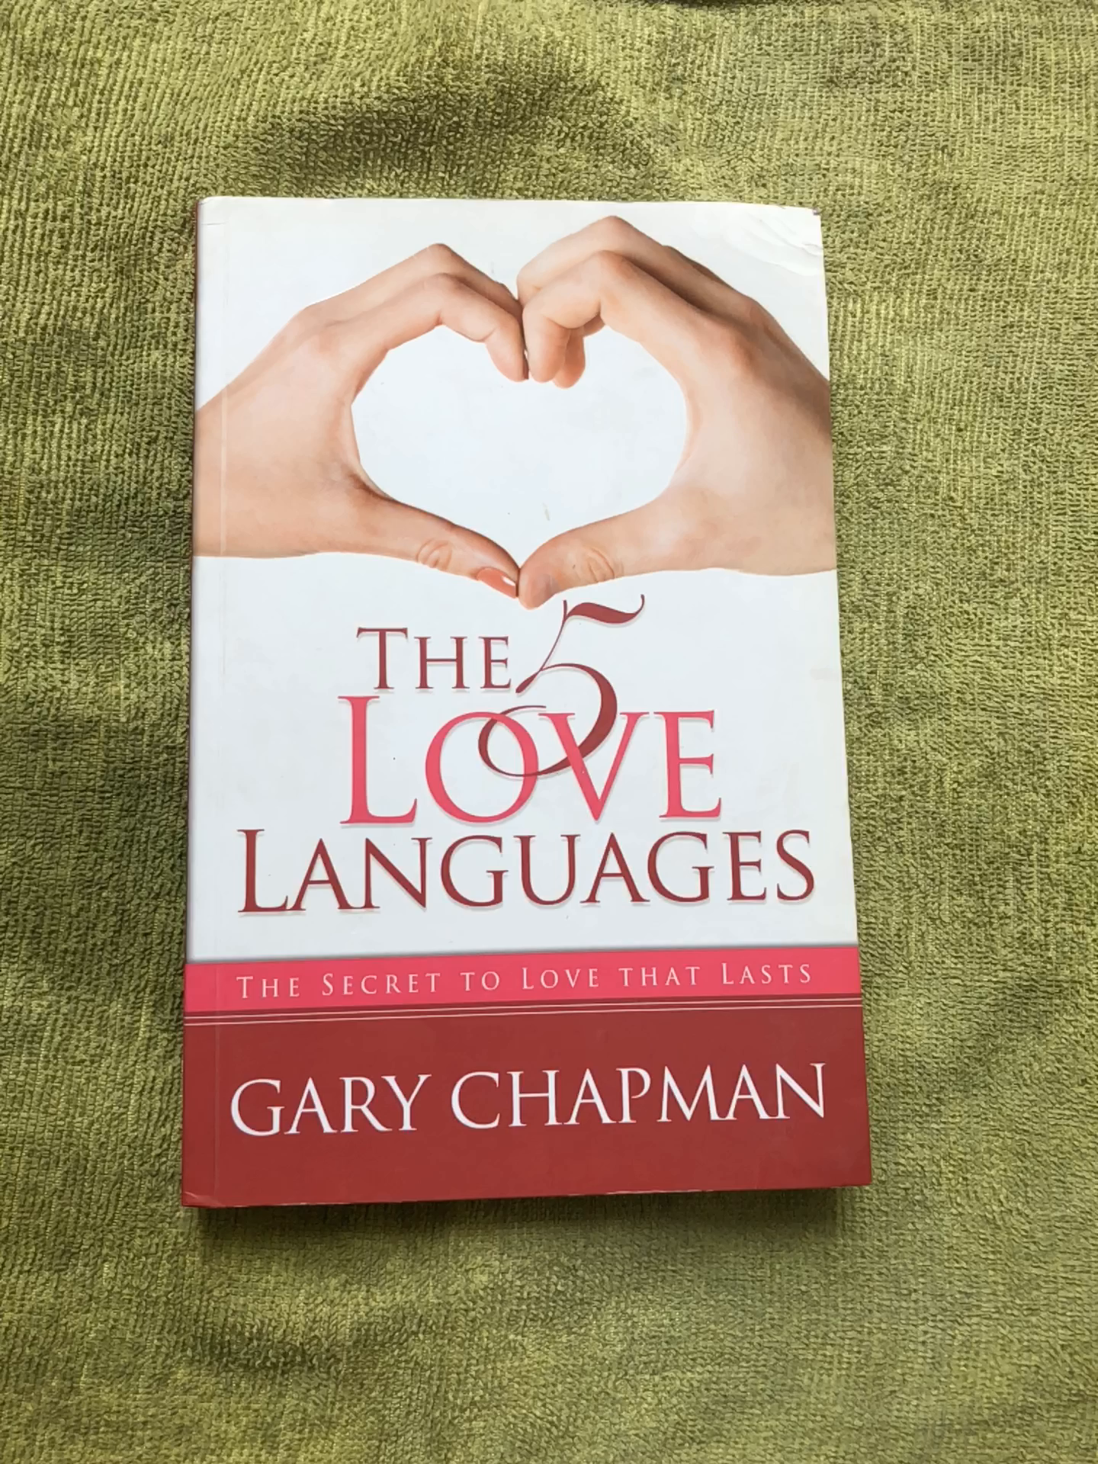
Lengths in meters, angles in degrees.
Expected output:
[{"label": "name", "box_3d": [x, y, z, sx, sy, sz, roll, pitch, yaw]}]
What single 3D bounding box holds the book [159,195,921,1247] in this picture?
[{"label": "book", "box_3d": [-0.004, -0.007, 0.250, 0.140, 0.030, 0.200, -1, 83, -4]}]
